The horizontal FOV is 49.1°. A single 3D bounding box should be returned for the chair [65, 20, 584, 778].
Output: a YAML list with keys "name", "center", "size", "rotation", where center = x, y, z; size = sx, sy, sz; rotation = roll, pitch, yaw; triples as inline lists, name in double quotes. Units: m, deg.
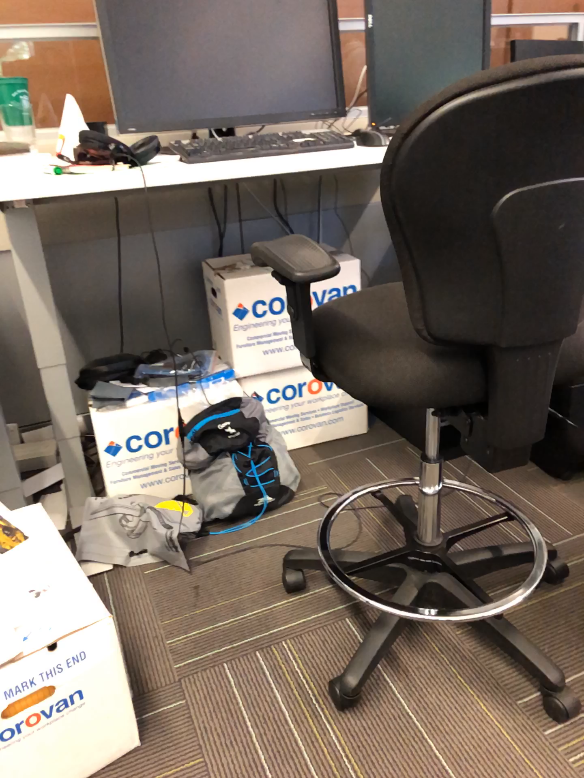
- name: "chair"
  center: [0.179, -0.025, 1.259]
  size: [0.891, 1.104, 0.964]
  rotation: [-13, 26, -21]
